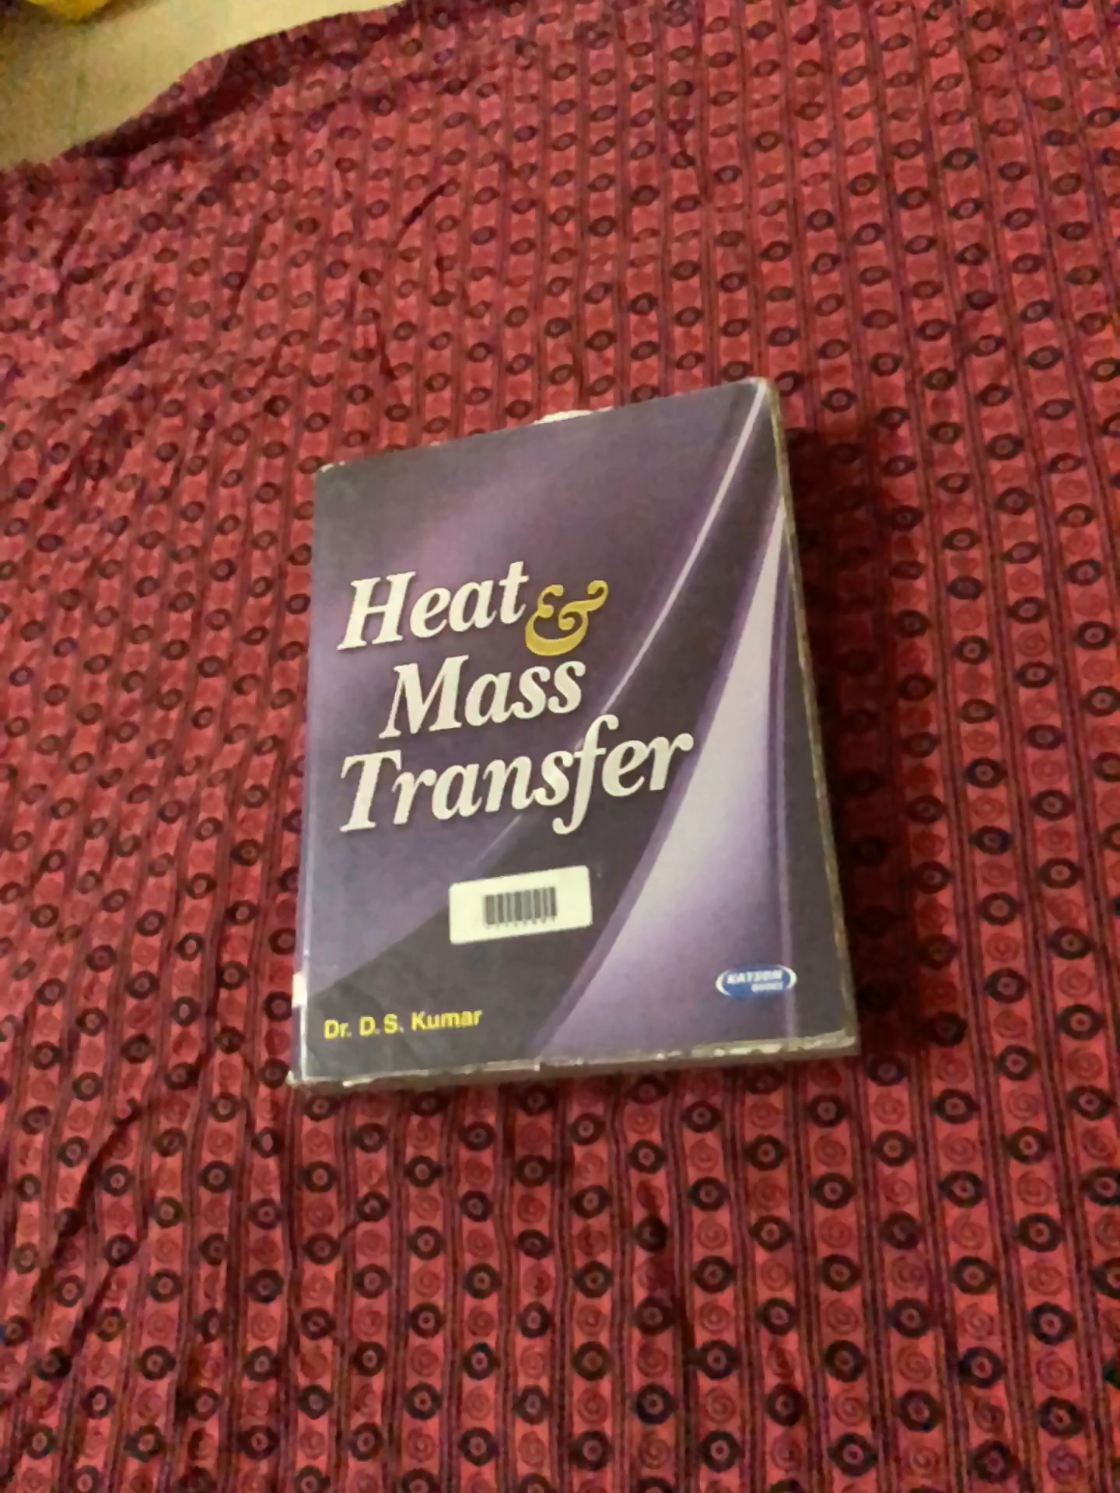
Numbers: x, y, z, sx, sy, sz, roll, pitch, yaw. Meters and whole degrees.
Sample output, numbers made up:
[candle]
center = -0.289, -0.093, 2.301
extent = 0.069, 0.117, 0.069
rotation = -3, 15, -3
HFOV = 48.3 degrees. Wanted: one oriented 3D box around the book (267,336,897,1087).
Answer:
[book]
center = 0.003, -0.010, 0.385
extent = 0.170, 0.040, 0.211
rotation = -7, 68, 15
